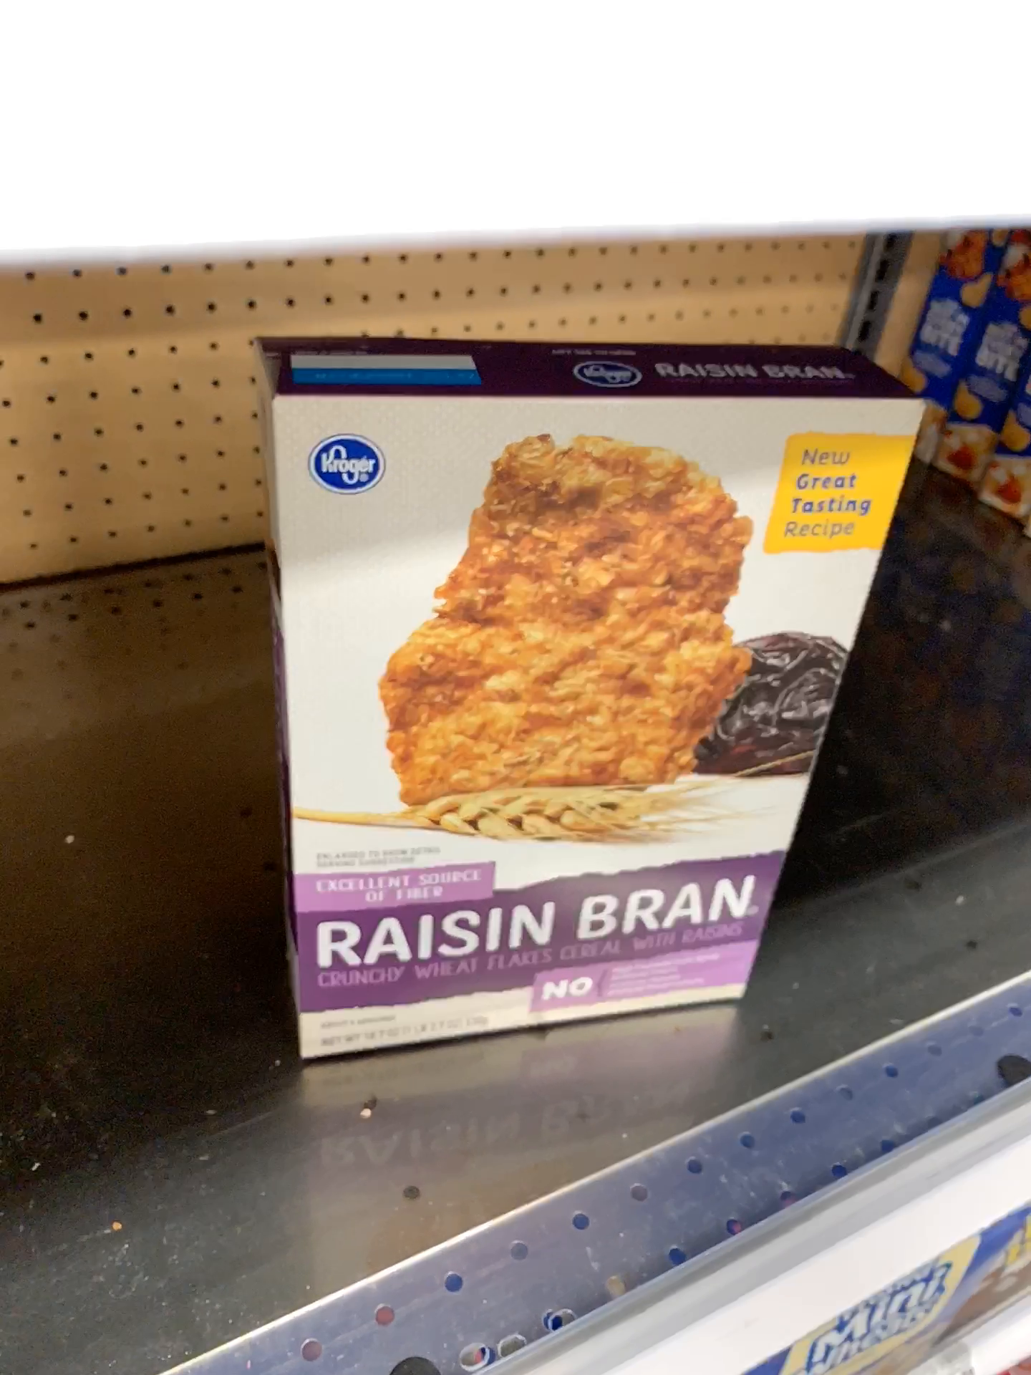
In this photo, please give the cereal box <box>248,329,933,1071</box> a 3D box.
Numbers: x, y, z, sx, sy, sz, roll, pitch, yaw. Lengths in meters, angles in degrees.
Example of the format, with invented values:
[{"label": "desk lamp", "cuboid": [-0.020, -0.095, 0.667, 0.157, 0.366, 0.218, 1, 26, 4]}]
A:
[{"label": "cereal box", "cuboid": [0.011, 0.017, 0.383, 0.190, 0.269, 0.050, -4, 36, -15]}]
